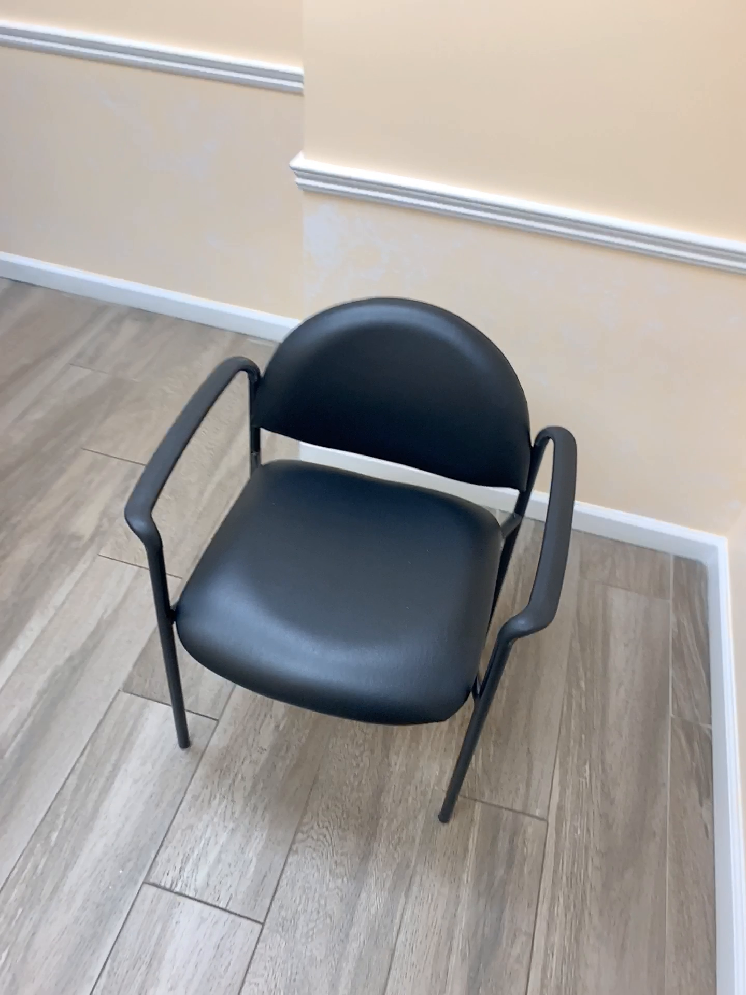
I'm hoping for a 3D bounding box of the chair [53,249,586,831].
[{"bbox_3d":[-0.047,0.094,1.270,0.582,0.727,0.512,13,47,7],"label":"chair"}]
